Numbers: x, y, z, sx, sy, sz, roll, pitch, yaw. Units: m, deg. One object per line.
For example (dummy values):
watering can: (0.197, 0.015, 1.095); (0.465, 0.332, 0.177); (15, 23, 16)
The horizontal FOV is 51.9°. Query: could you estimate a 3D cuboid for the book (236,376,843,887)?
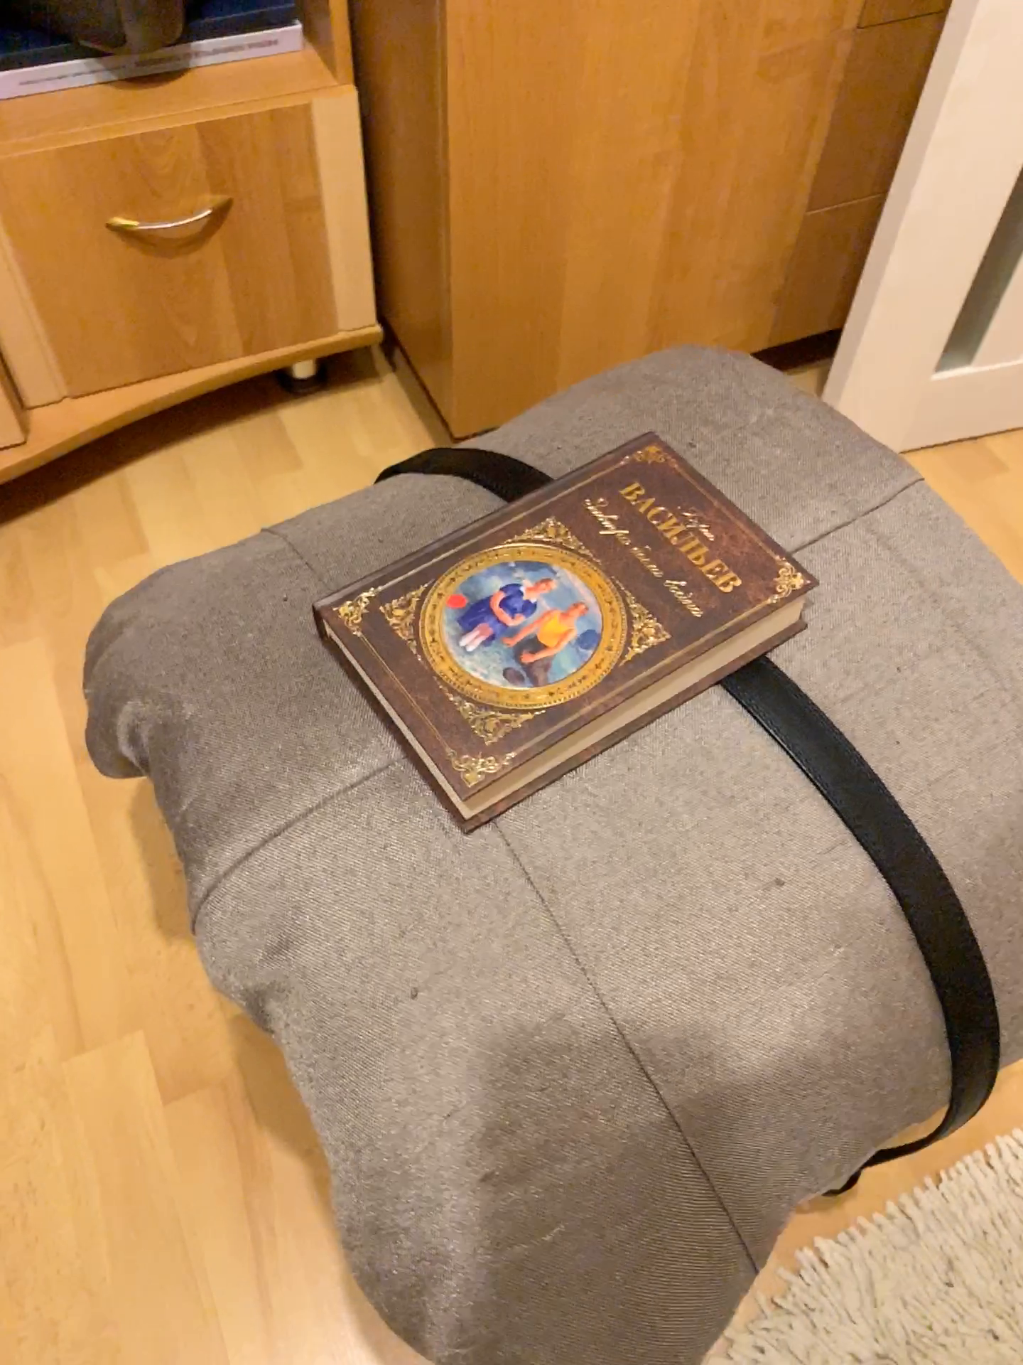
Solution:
book: (0.013, -0.033, 0.472); (0.220, 0.050, 0.141); (-32, 61, -16)
